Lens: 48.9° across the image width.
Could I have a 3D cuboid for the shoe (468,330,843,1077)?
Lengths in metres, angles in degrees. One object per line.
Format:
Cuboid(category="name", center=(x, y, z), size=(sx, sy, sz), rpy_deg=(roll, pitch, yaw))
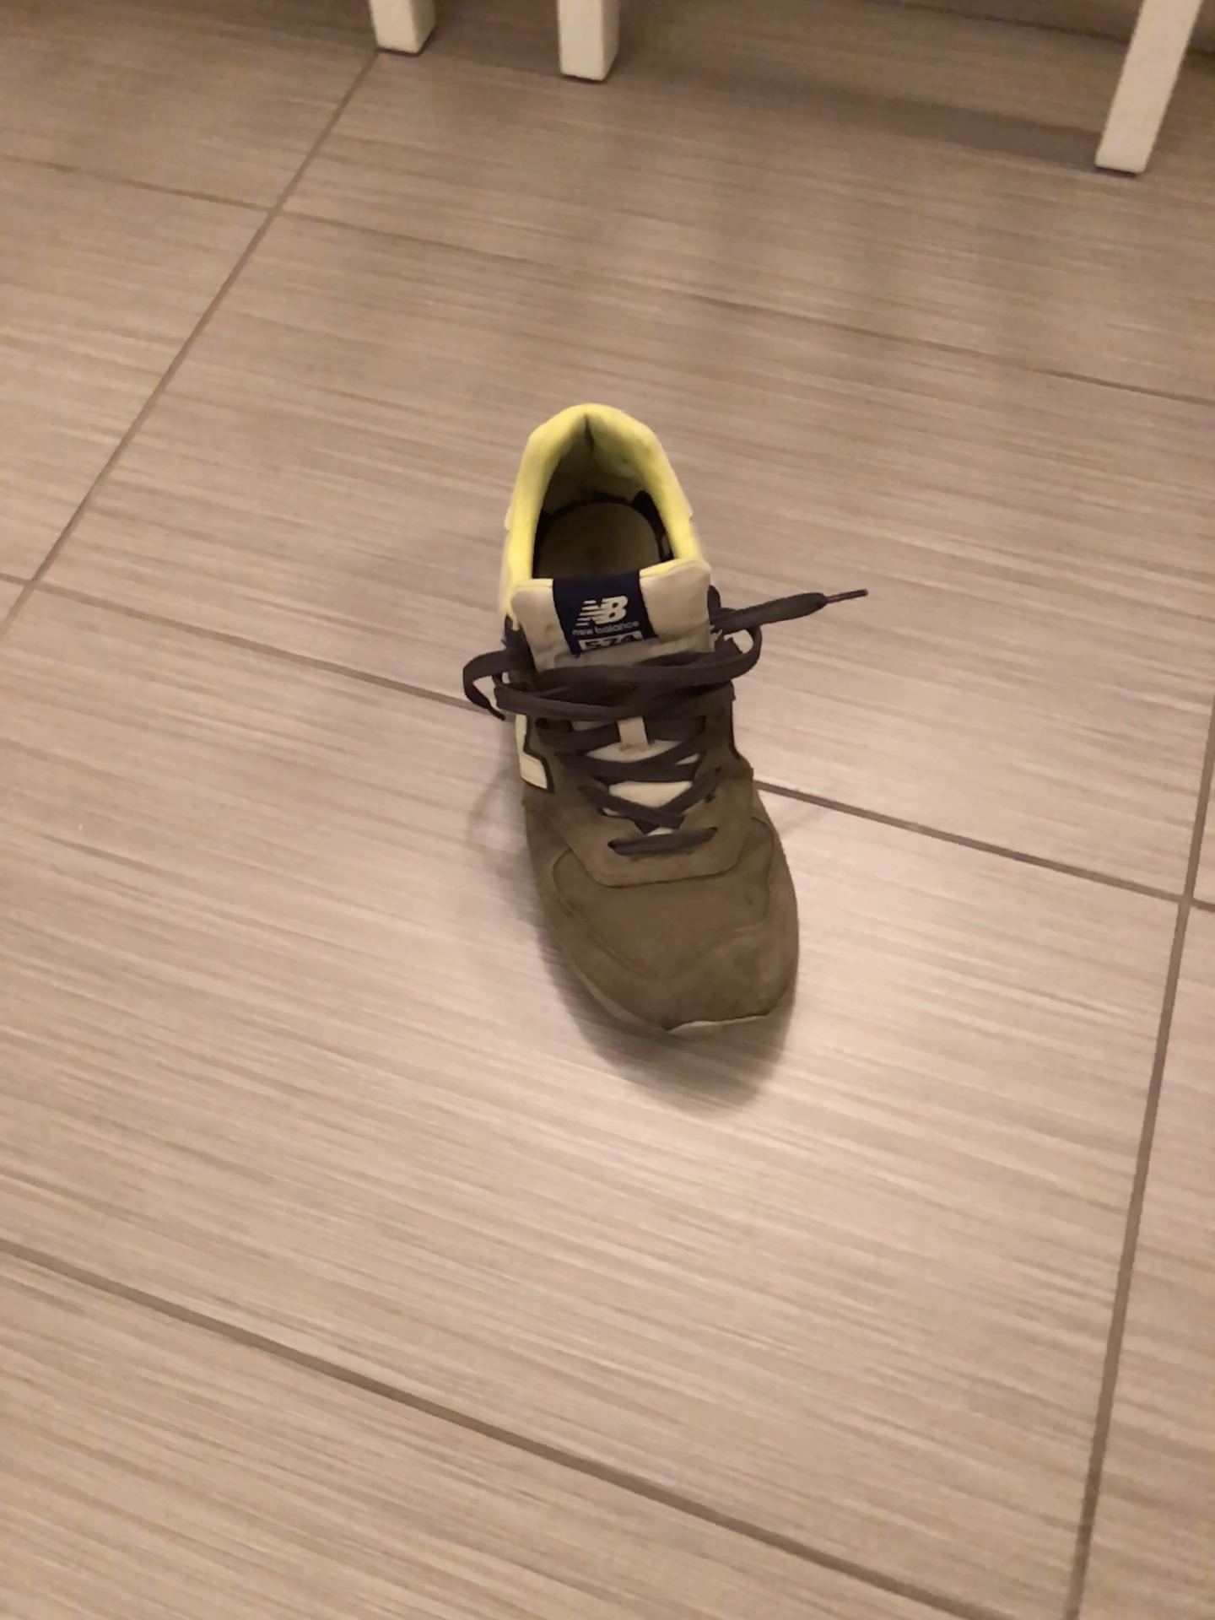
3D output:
Cuboid(category="shoe", center=(0.018, -0.053, 0.585), size=(0.130, 0.110, 0.311), rpy_deg=(-2, 62, 3))
